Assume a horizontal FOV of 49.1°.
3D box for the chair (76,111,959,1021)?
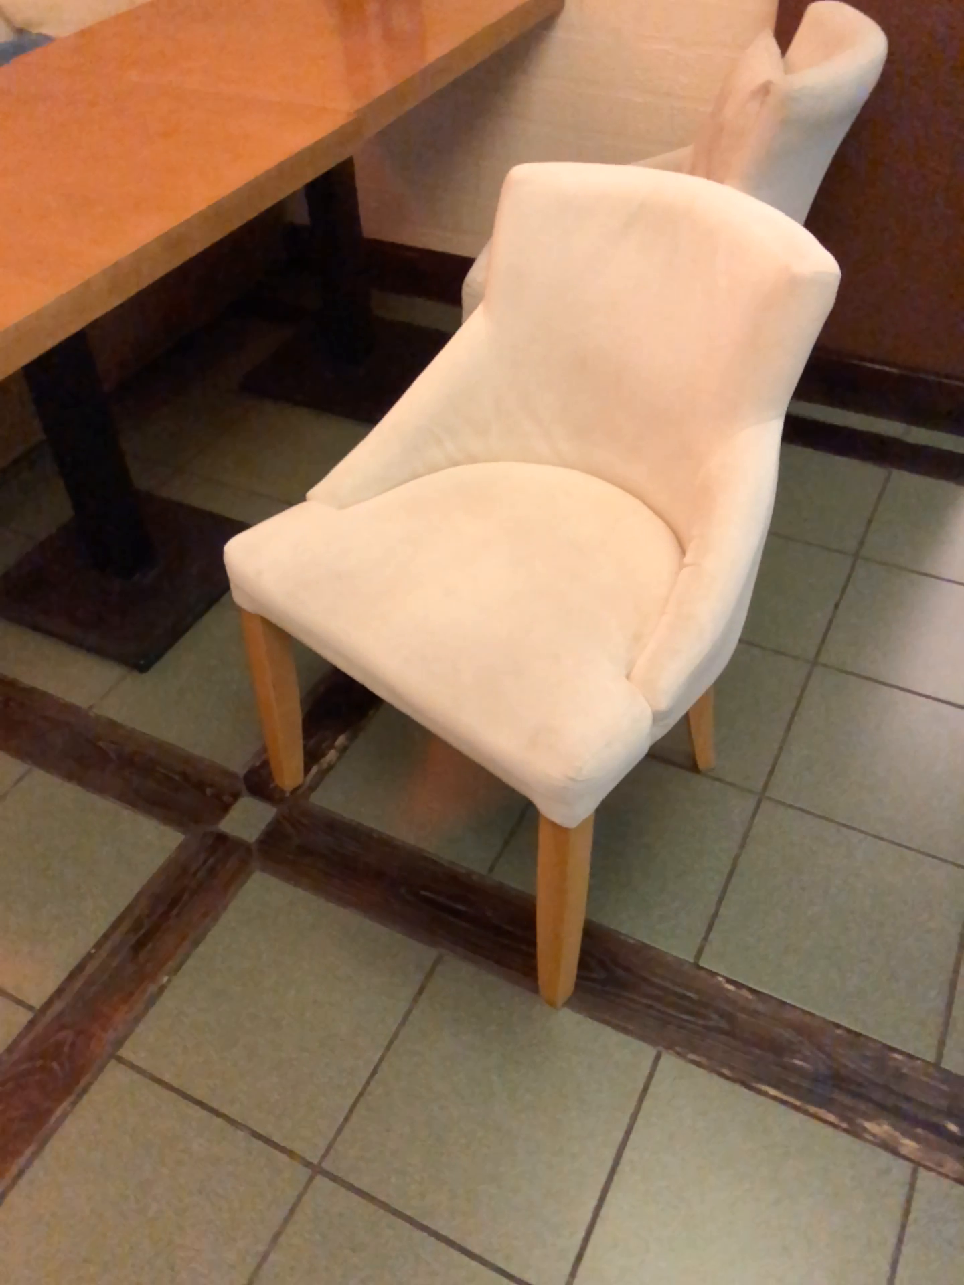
[{"bbox_3d":[0.059,-0.130,1.336,0.631,0.736,0.662,30,52,29],"label":"chair"}]
